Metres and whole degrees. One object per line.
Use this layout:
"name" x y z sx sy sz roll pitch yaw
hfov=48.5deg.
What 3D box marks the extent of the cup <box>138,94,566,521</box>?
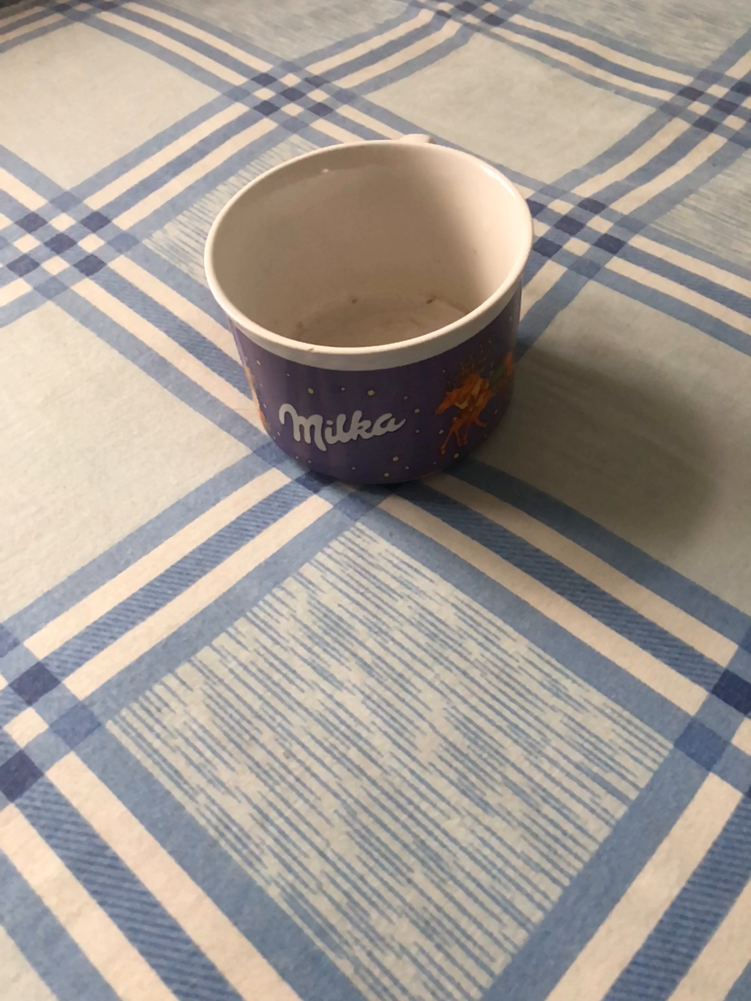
"cup" 0.000 -0.073 0.290 0.104 0.063 0.131 11 53 9
